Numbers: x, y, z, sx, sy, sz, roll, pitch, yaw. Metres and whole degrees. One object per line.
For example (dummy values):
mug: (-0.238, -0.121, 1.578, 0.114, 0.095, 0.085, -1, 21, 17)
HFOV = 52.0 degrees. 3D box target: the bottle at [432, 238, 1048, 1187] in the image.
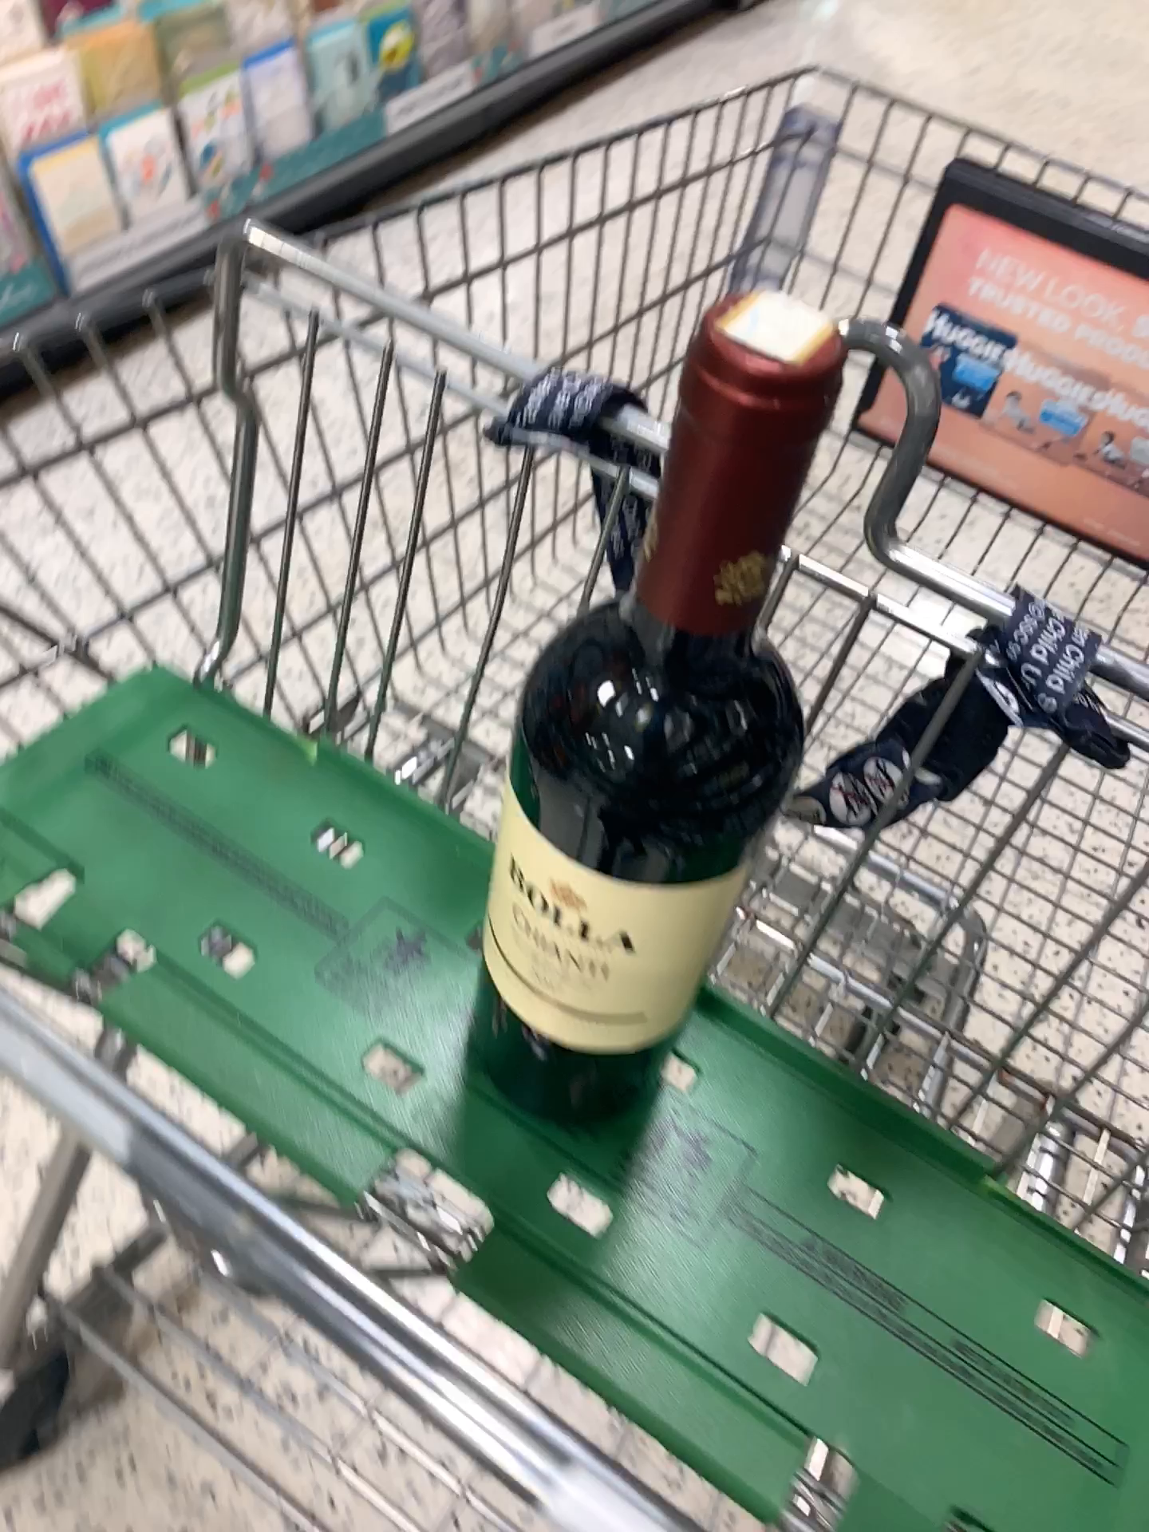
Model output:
bottle: (0.022, 0.012, 0.327, 0.080, 0.267, 0.081, 5, 50, -6)
